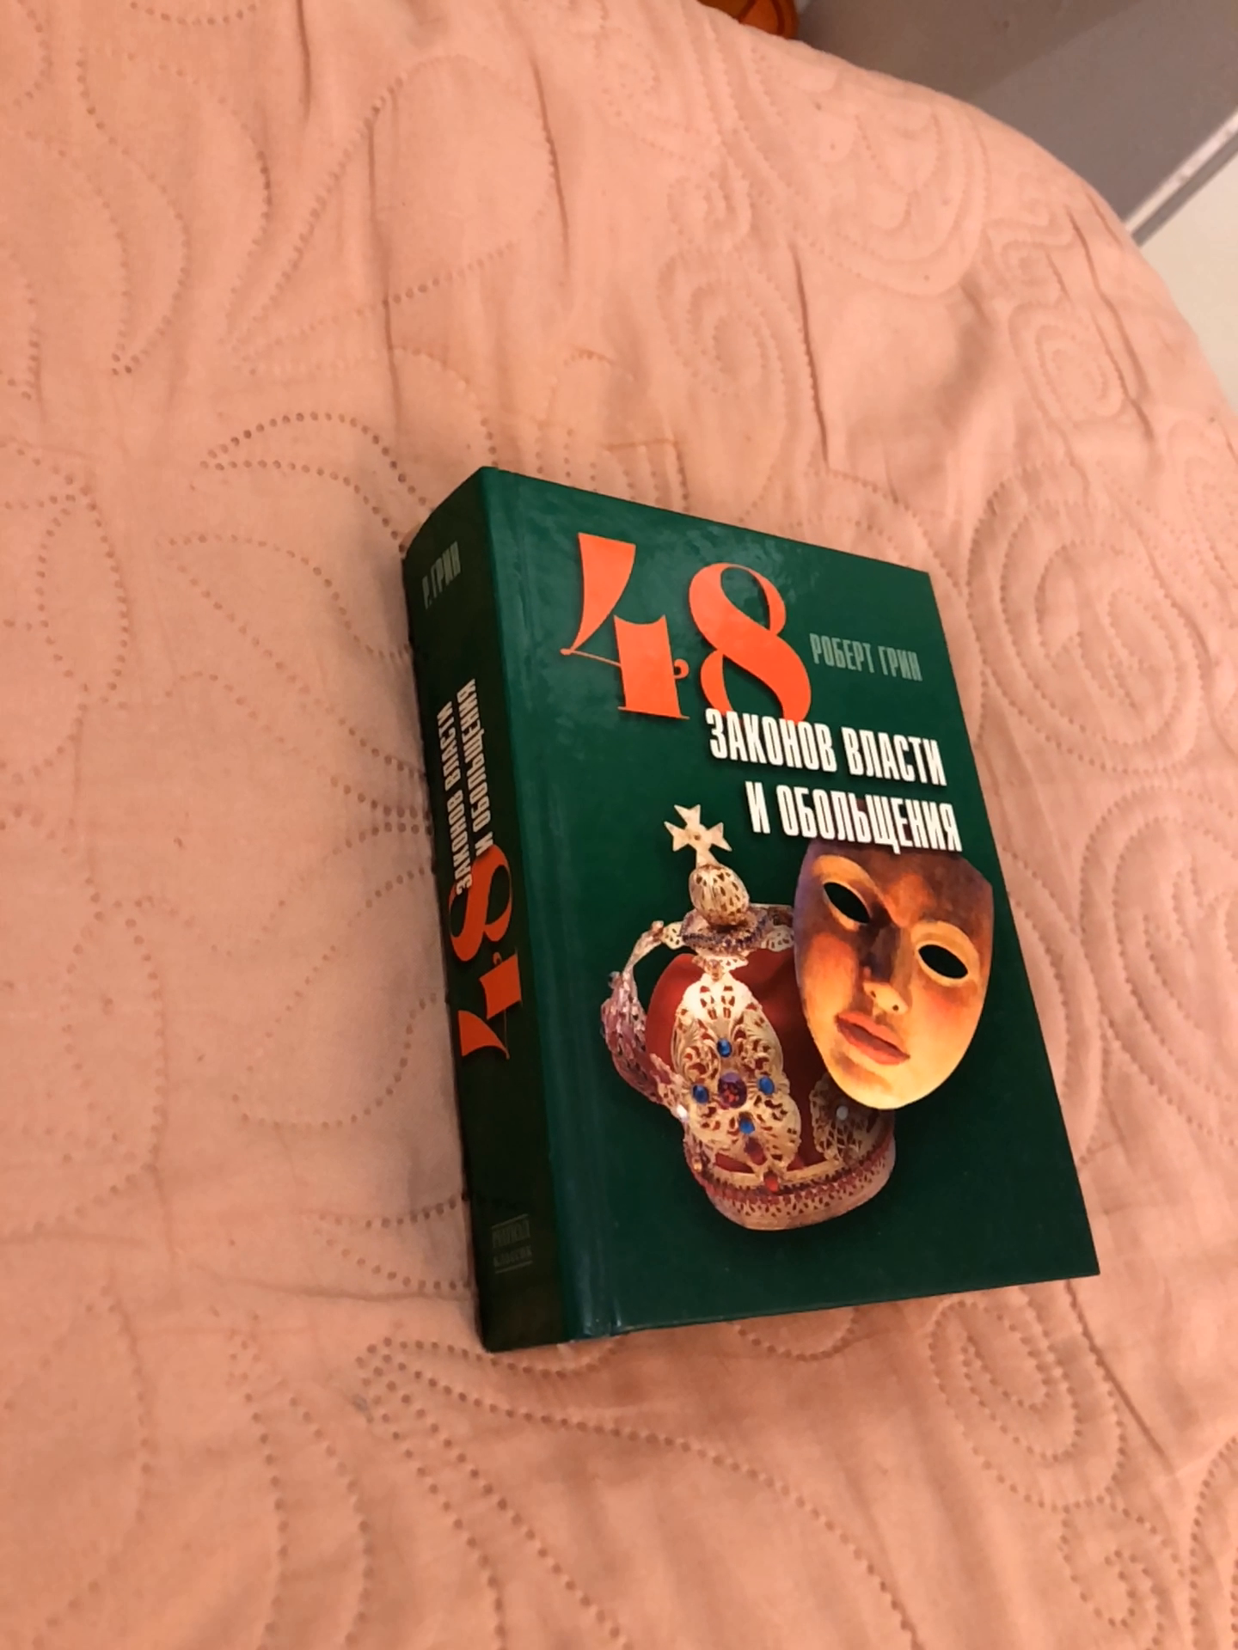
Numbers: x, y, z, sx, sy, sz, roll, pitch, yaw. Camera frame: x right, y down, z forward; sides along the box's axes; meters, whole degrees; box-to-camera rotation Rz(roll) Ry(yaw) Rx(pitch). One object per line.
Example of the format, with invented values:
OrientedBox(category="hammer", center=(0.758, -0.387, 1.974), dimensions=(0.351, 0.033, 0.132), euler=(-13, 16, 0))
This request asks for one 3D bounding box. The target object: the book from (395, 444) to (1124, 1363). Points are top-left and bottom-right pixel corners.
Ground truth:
OrientedBox(category="book", center=(0.023, 0.012, 0.246), dimensions=(0.110, 0.032, 0.143), euler=(6, 64, -33))
